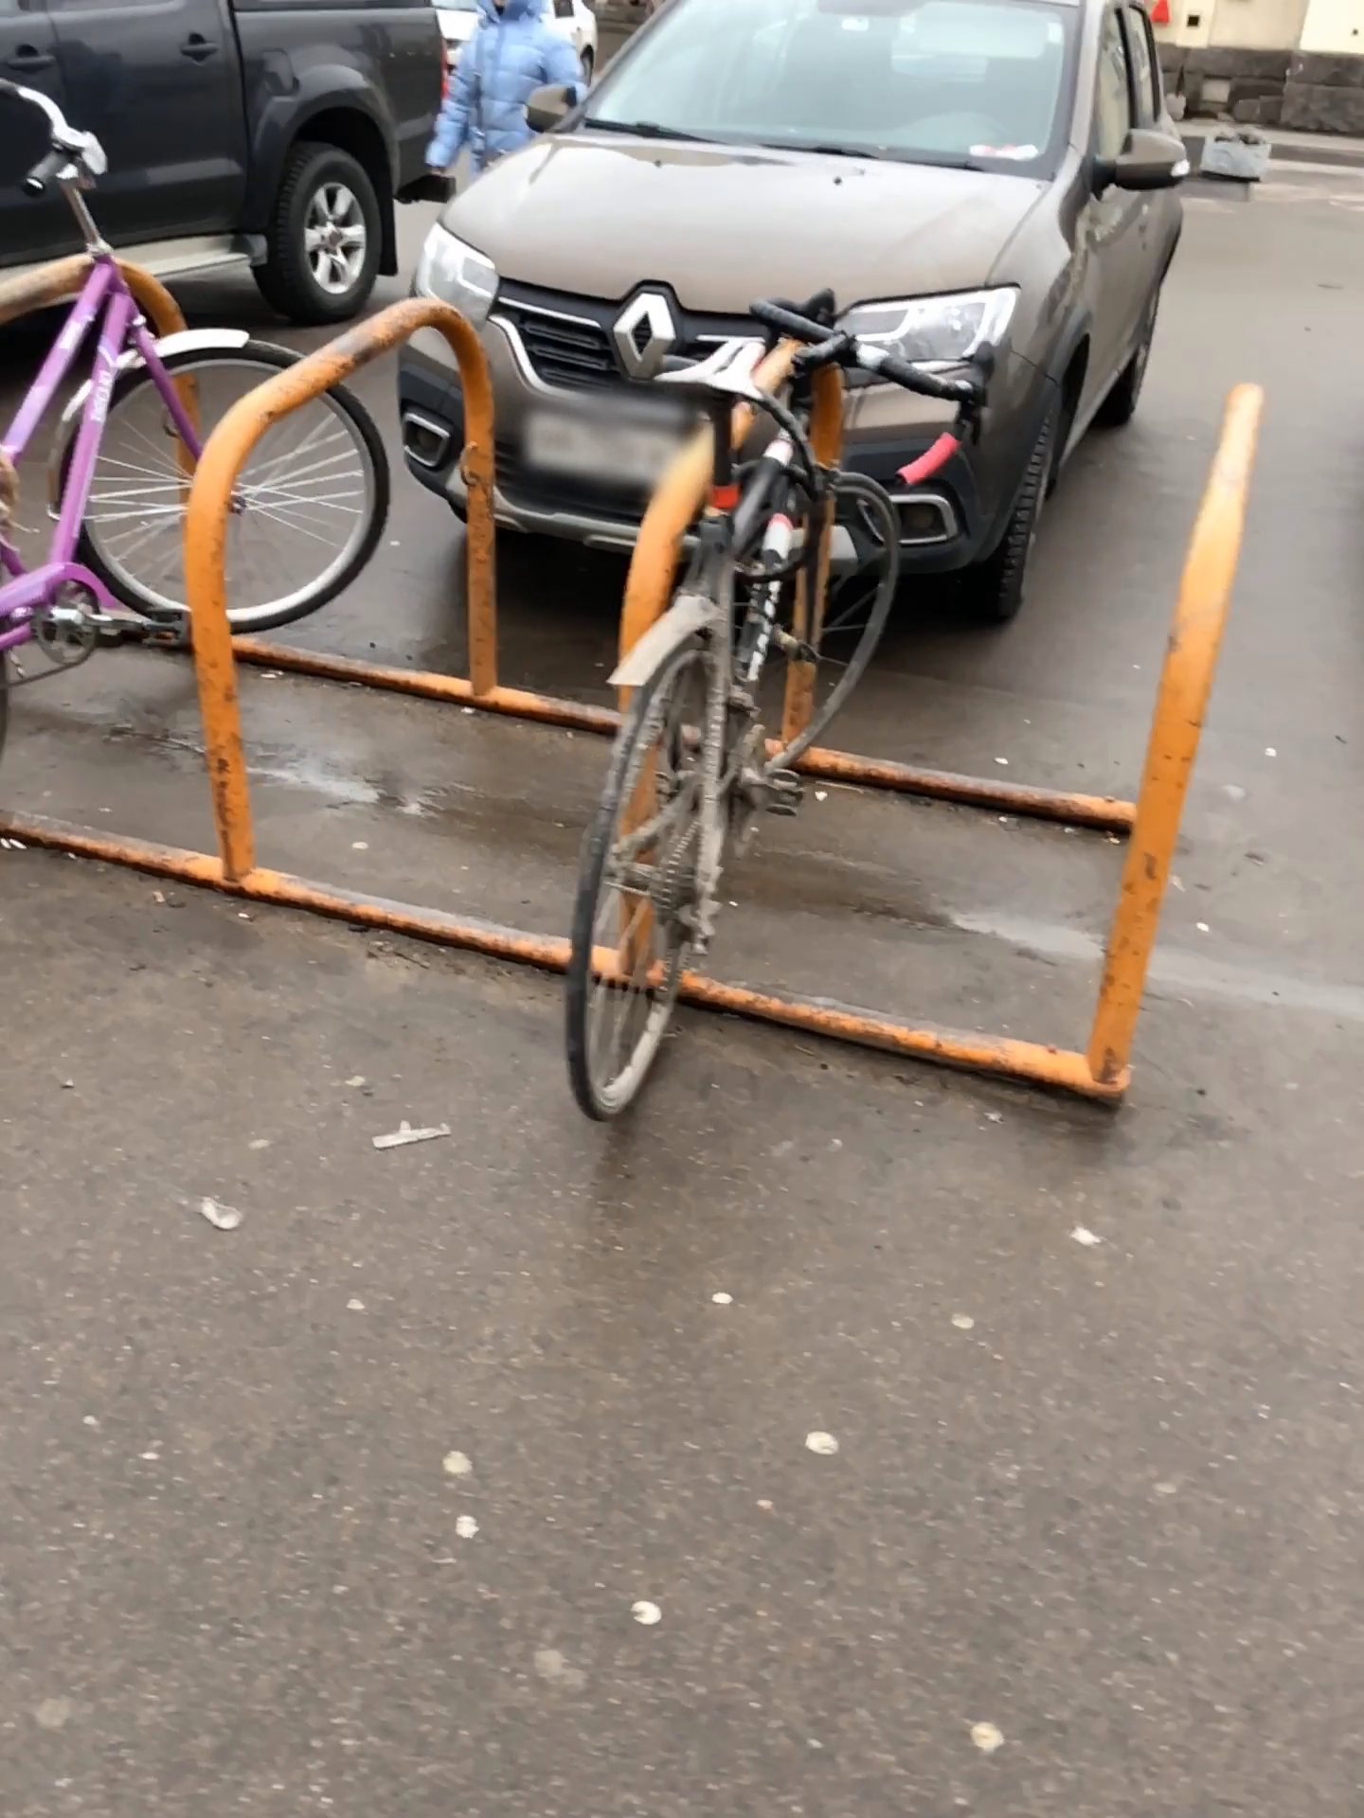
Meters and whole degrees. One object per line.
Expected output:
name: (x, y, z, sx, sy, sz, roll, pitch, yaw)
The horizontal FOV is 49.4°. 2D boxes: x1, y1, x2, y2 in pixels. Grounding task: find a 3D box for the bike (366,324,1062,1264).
bike: (0.150, -0.329, 2.258, 0.490, 0.761, 1.524, 13, 33, 16)
